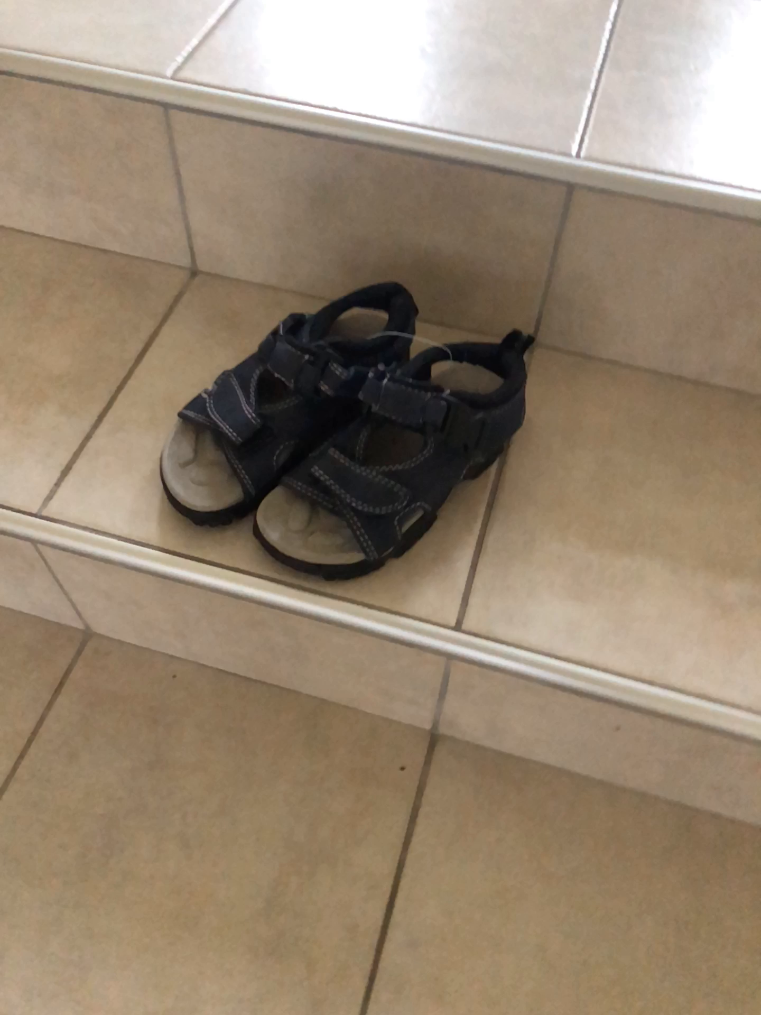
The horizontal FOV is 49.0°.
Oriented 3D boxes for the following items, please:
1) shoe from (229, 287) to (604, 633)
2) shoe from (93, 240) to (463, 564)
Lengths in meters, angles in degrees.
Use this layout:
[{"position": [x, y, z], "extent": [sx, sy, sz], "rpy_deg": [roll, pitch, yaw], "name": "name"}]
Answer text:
[{"position": [0.027, -0.038, 0.562], "extent": [0.231, 0.090, 0.100], "rpy_deg": [-35, 63, -24], "name": "shoe"}, {"position": [-0.063, -0.080, 0.589], "extent": [0.231, 0.090, 0.100], "rpy_deg": [-35, 63, -24], "name": "shoe"}]
